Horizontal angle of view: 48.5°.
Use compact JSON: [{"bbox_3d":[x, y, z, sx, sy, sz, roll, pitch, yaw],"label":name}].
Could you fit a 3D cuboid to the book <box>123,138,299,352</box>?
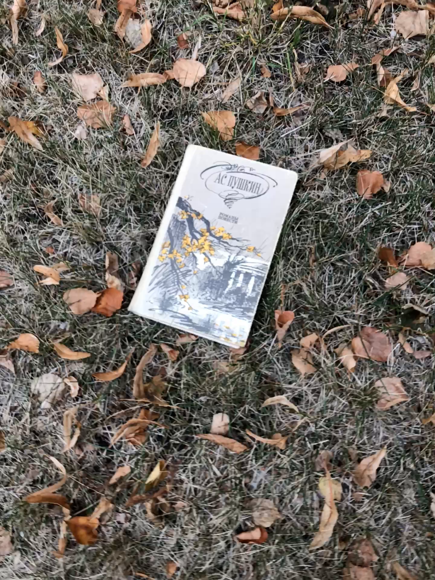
[{"bbox_3d":[-0.005,-0.053,0.541,0.135,0.021,0.211,17,82,5],"label":"book"}]
